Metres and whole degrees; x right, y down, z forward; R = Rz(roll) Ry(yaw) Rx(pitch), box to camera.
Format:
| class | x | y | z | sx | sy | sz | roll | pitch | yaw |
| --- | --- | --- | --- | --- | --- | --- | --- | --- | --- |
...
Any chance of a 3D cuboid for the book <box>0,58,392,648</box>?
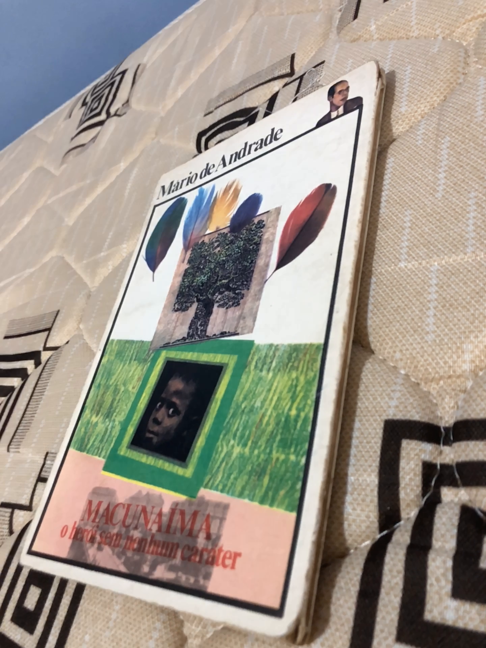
| class | x | y | z | sx | sy | sz | roll | pitch | yaw |
| --- | --- | --- | --- | --- | --- | --- | --- | --- | --- |
| book | -0.017 | -0.001 | 0.206 | 0.131 | 0.020 | 0.190 | -11 | 54 | 41 |
